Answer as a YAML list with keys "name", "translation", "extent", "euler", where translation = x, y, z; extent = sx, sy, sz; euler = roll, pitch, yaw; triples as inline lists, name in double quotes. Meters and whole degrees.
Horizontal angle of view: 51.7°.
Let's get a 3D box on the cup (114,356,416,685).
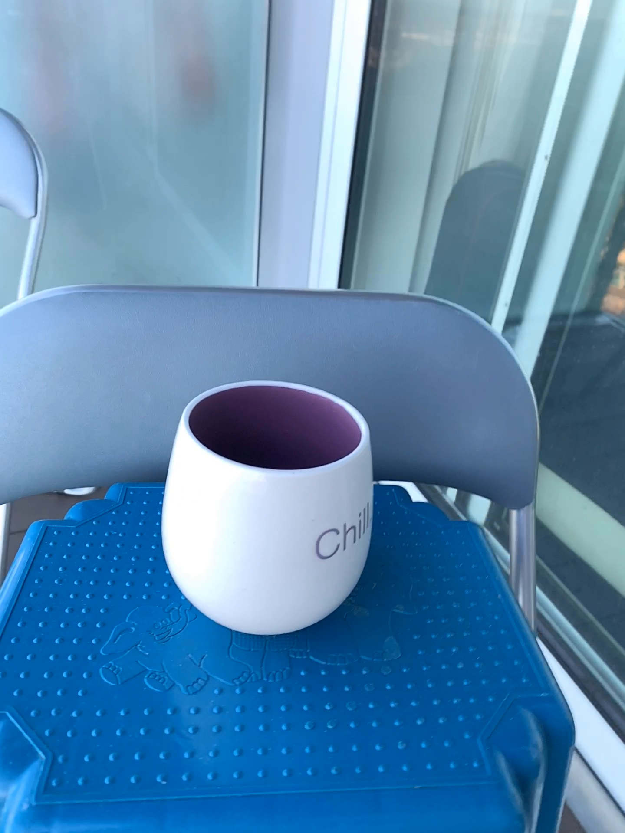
- name: "cup"
  translation: [-0.021, 0.043, 0.327]
  extent: [0.105, 0.090, 0.111]
  euler: [6, 29, -3]
